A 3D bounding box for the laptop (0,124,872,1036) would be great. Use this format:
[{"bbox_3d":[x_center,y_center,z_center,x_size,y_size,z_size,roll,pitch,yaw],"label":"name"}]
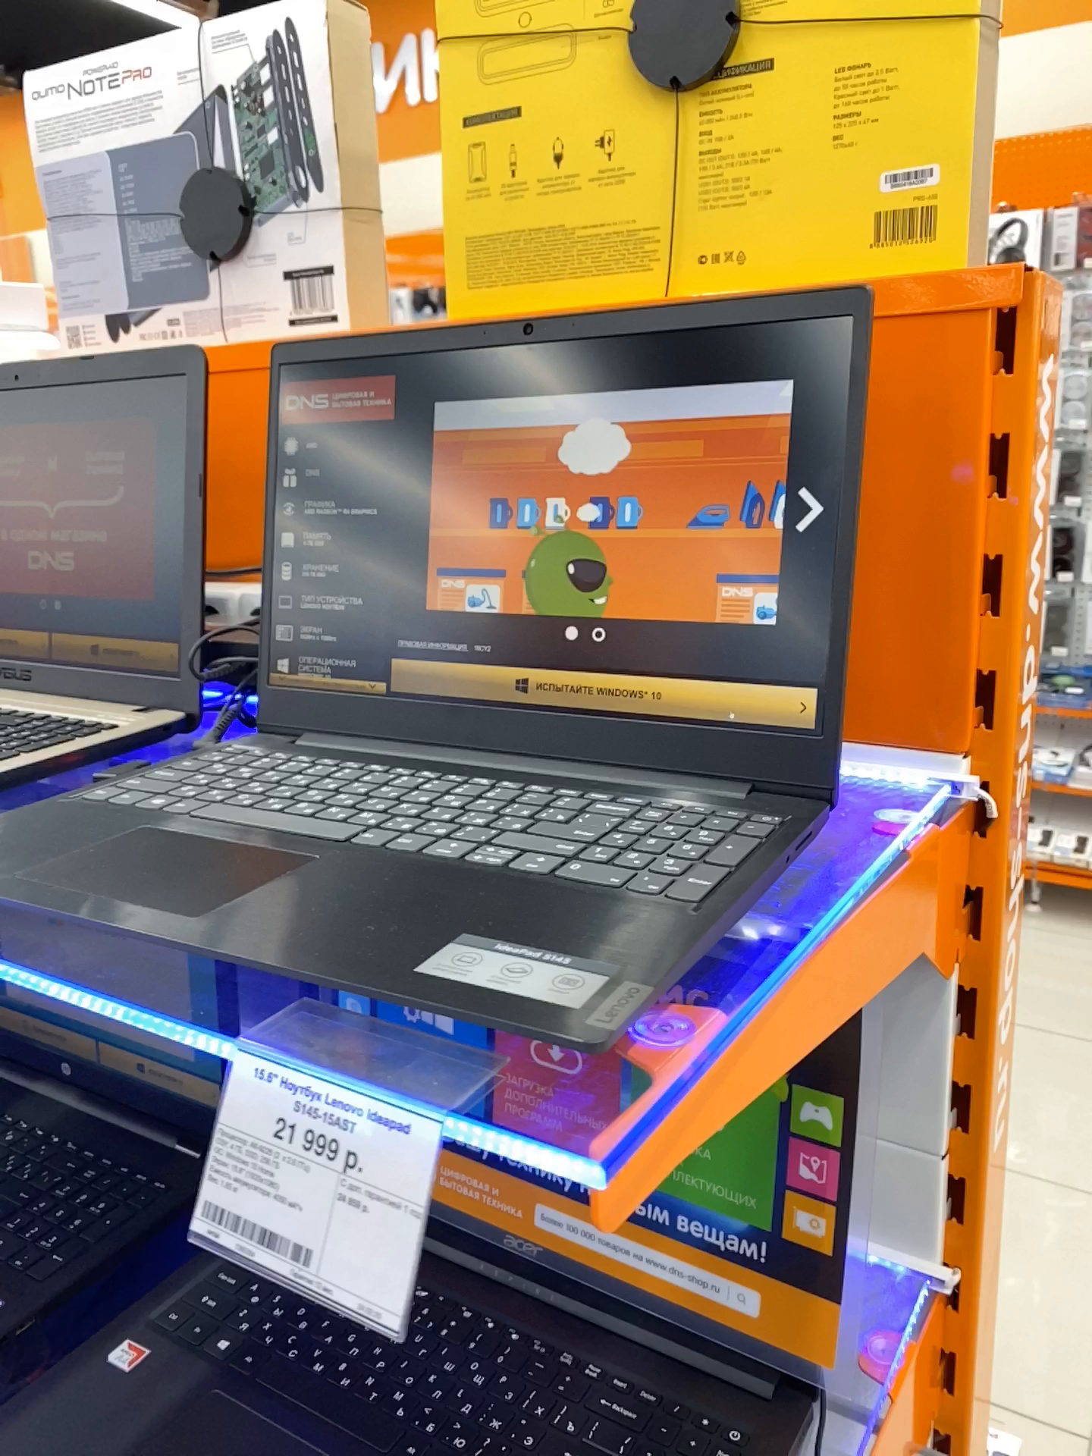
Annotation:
[{"bbox_3d":[-0.077,-0.073,0.500,0.359,0.233,0.297,5,15,29],"label":"laptop"}]
